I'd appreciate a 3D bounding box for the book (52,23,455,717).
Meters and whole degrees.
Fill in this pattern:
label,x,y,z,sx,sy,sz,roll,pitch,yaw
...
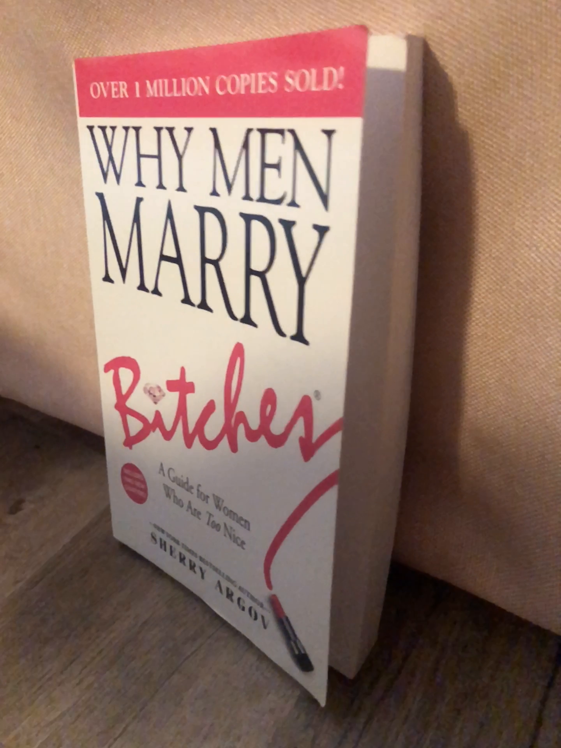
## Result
label,x,y,z,sx,sy,sz,roll,pitch,yaw
book,-0.023,-0.005,0.244,0.150,0.219,0.037,21,29,39
